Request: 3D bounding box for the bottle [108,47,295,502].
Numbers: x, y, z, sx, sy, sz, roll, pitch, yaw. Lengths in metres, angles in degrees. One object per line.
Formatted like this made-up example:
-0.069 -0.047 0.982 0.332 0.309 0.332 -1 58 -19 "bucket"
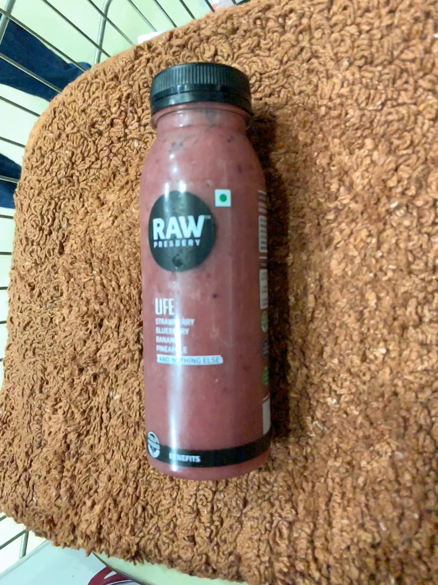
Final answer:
-0.004 -0.006 0.183 0.060 0.050 0.150 0 91 20 "bottle"
